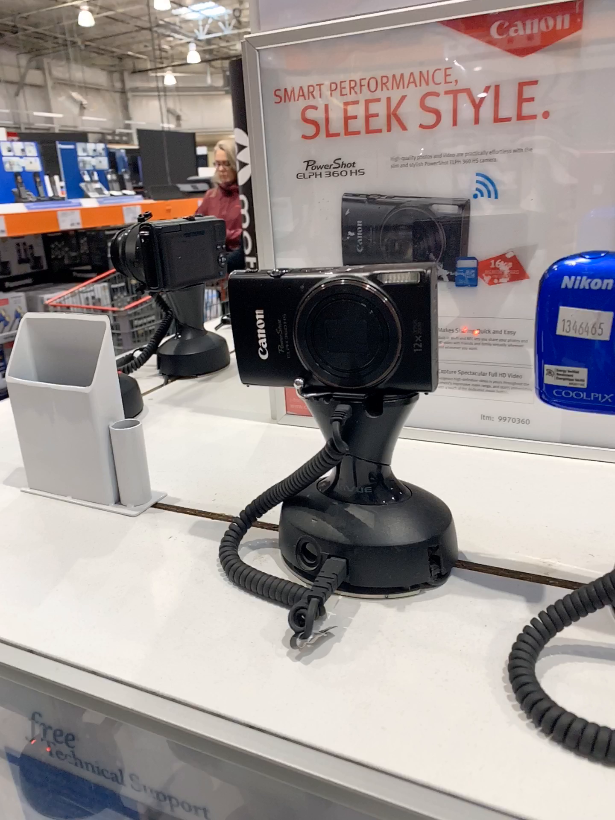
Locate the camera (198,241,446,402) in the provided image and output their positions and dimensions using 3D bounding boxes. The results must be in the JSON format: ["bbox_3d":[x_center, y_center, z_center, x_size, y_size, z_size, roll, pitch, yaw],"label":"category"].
[{"bbox_3d":[0.008,-0.041,0.284,0.100,0.060,0.040,4,20,20],"label":"camera"}]
